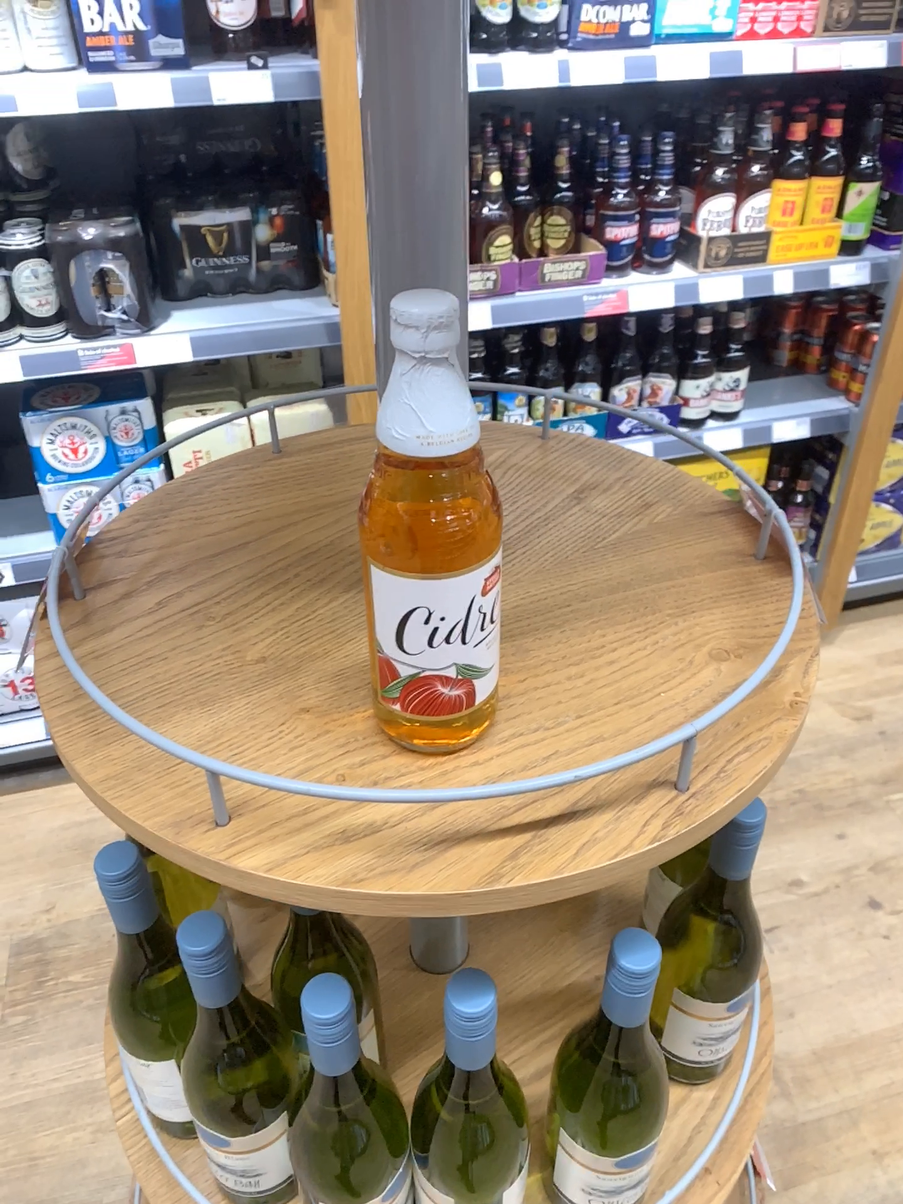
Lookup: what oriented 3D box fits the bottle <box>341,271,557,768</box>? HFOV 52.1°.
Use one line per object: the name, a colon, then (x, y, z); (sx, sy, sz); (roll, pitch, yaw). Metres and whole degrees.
bottle: (-0.002, -0.031, 0.436); (0.069, 0.218, 0.071); (-1, 36, 0)
